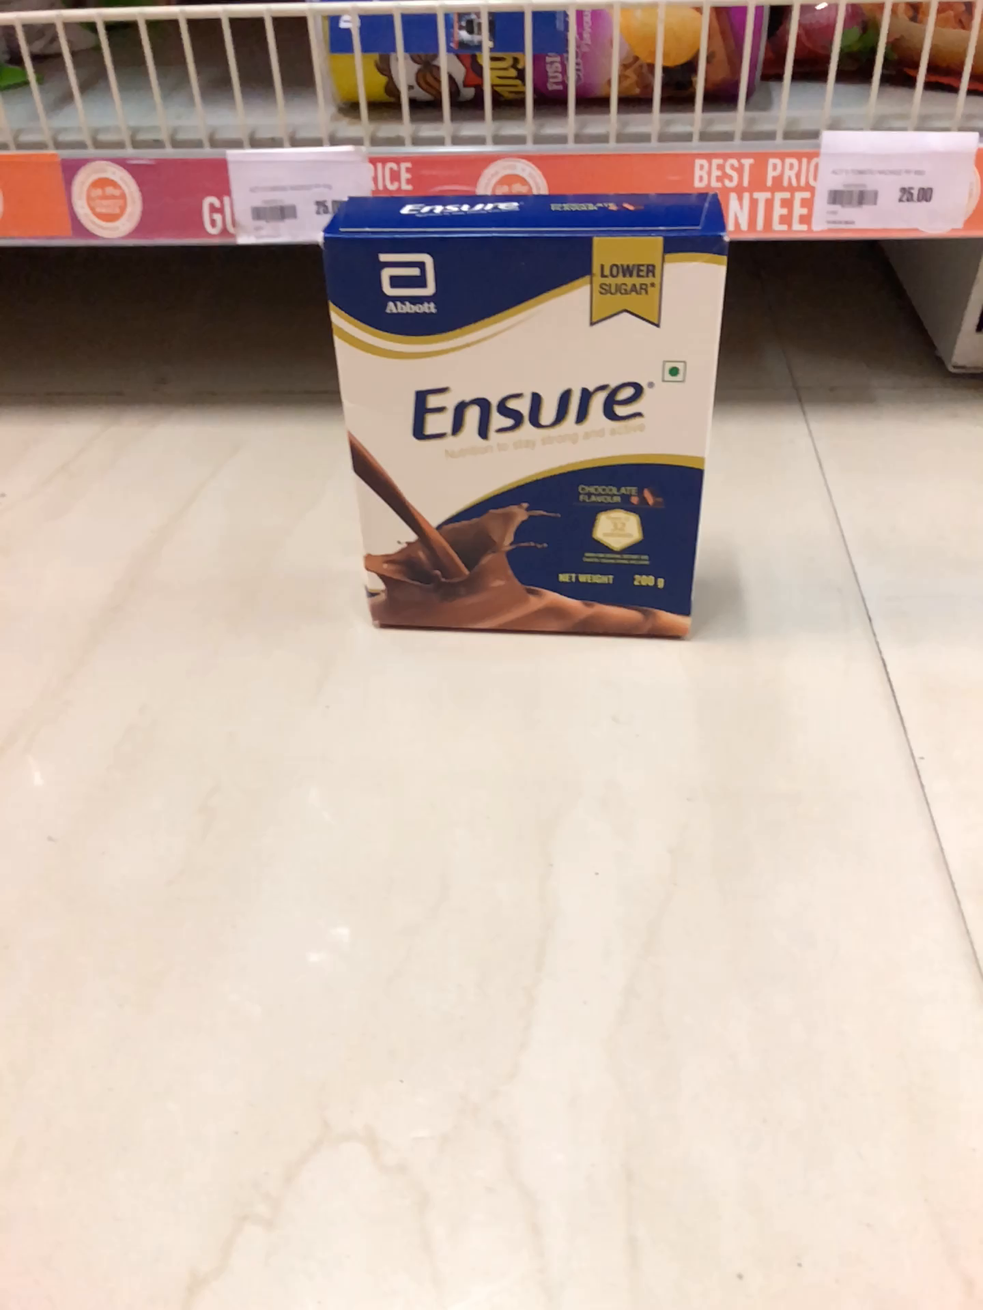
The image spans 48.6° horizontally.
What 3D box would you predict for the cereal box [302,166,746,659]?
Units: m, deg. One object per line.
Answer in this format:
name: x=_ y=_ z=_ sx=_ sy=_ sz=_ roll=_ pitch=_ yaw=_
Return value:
cereal box: x=0.015 y=-0.086 z=0.418 sx=0.140 sy=0.179 sz=0.050 roll=2 pitch=40 yaw=6
